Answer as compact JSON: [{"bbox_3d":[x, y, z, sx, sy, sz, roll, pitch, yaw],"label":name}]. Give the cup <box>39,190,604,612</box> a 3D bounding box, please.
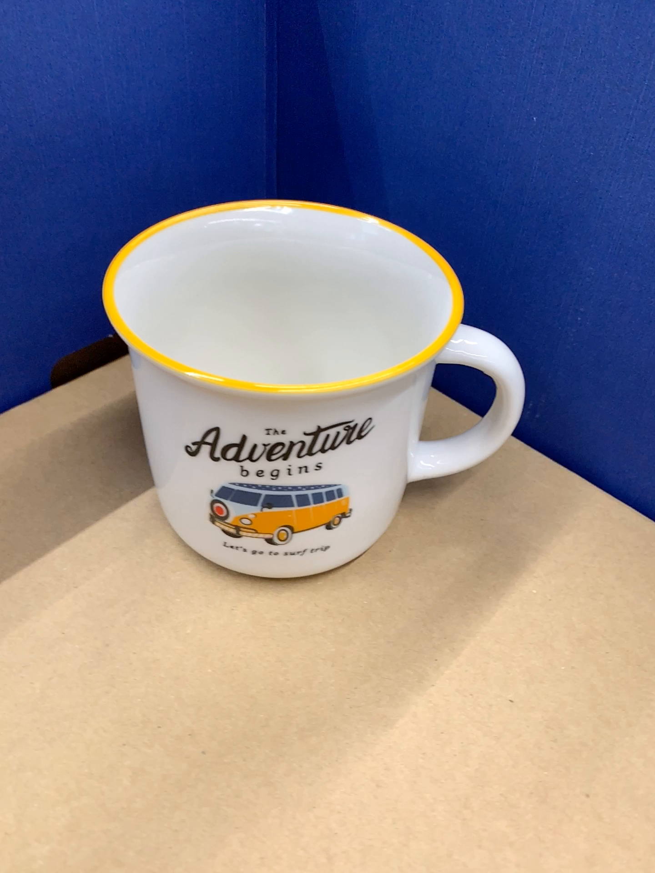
[{"bbox_3d":[-0.004,-0.013,0.215,0.124,0.083,0.102,2,41,-3],"label":"cup"}]
